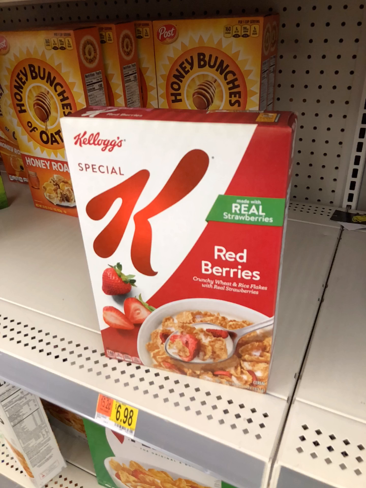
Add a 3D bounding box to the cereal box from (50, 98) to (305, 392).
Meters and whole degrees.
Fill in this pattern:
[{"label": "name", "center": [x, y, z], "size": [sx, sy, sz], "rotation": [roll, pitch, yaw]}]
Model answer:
[{"label": "cereal box", "center": [0.002, 0.011, 0.401], "size": [0.200, 0.289, 0.050], "rotation": [7, 35, 18]}]
